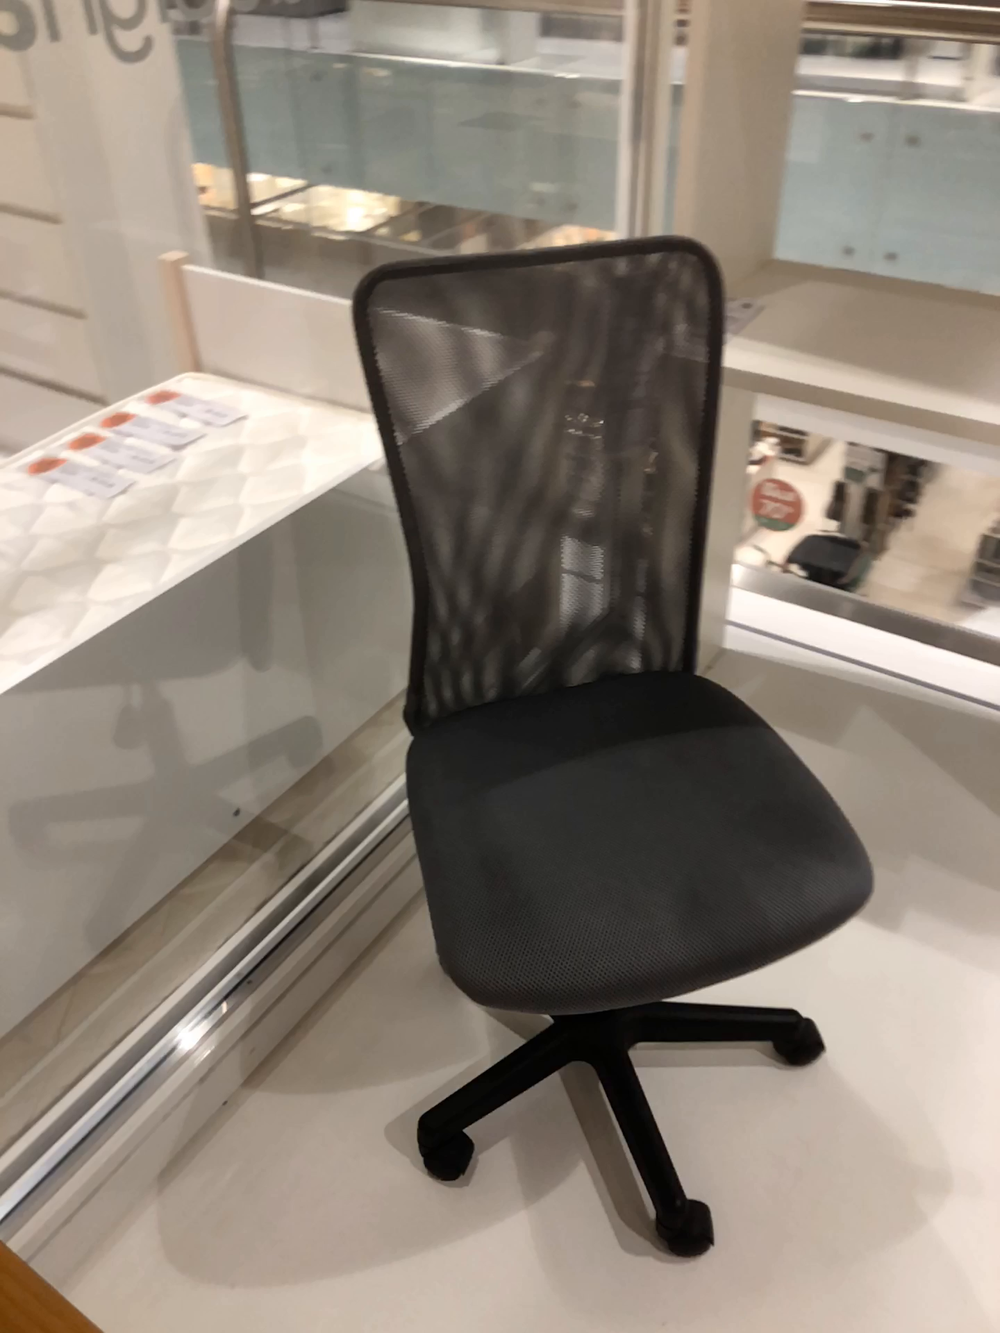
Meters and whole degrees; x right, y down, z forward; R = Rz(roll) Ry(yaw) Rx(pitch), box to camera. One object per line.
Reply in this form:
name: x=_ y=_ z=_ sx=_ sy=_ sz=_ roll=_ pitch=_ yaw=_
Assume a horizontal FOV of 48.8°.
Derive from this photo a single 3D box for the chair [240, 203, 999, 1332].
chair: x=0.131 y=0.110 z=1.149 sx=0.580 sy=0.933 sz=0.604 roll=-12 pitch=38 yaw=-13
